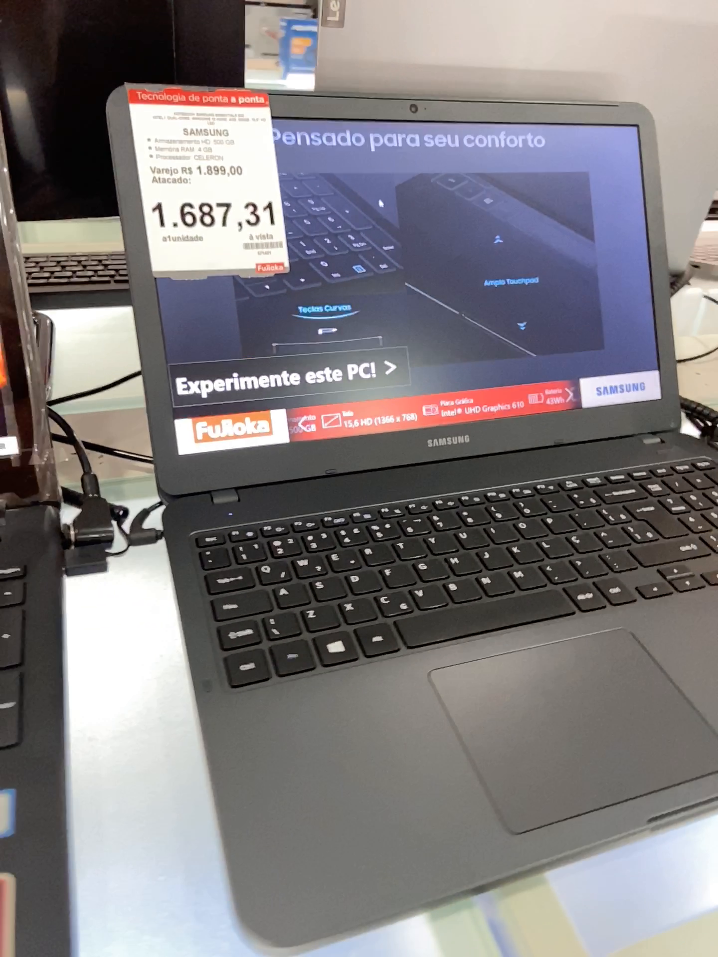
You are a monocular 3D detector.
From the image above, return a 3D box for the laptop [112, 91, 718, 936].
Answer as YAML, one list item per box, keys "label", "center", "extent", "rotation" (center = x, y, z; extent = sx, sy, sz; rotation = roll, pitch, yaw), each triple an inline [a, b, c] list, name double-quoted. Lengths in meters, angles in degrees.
- label: "laptop"
  center: [0.086, -0.061, 0.381]
  extent: [0.366, 0.196, 0.372]
  rotation: [-8, 35, -17]
